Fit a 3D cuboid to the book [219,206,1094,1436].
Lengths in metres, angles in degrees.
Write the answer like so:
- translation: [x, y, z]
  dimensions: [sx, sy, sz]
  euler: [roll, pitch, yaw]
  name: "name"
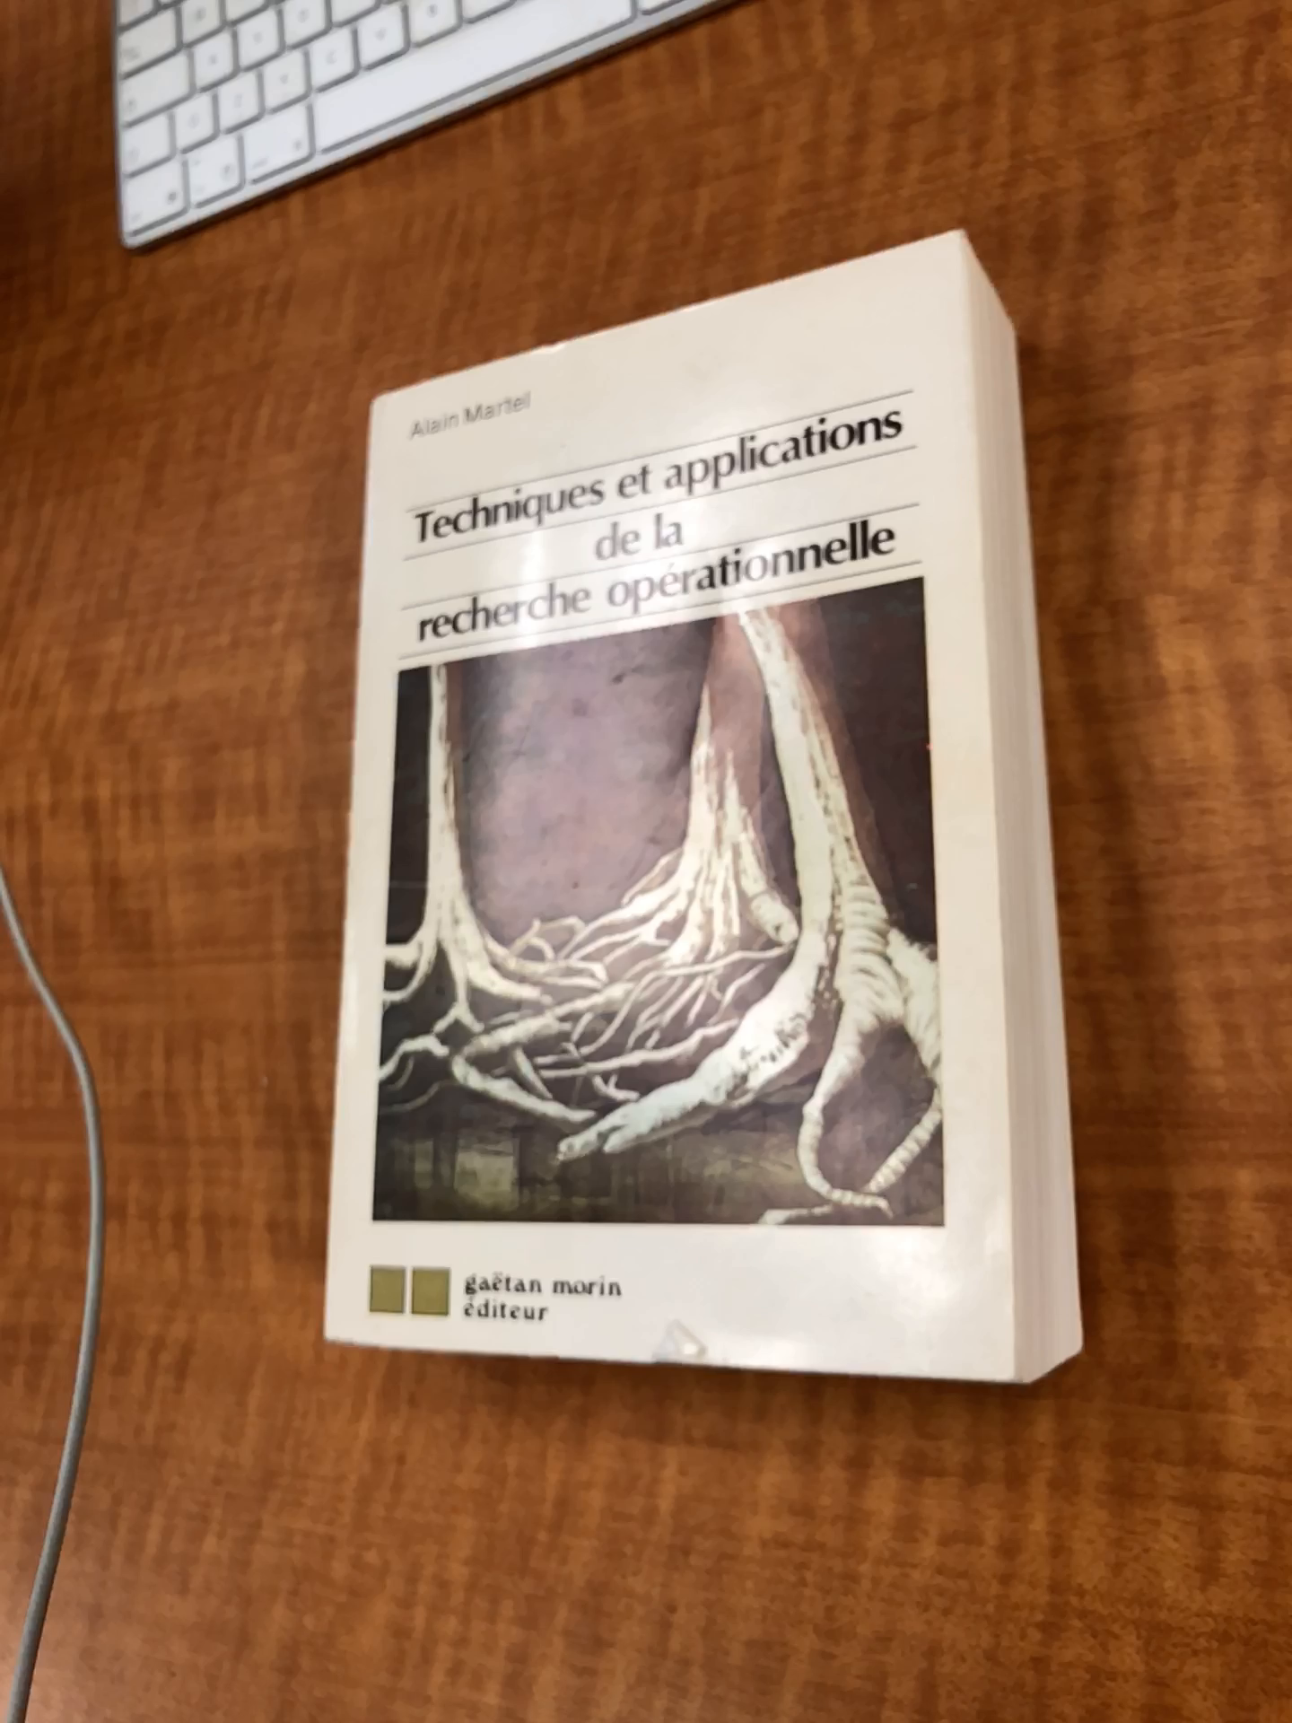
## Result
- translation: [0.001, -0.003, 0.330]
  dimensions: [0.170, 0.070, 0.230]
  euler: [-6, 75, 26]
  name: "book"
